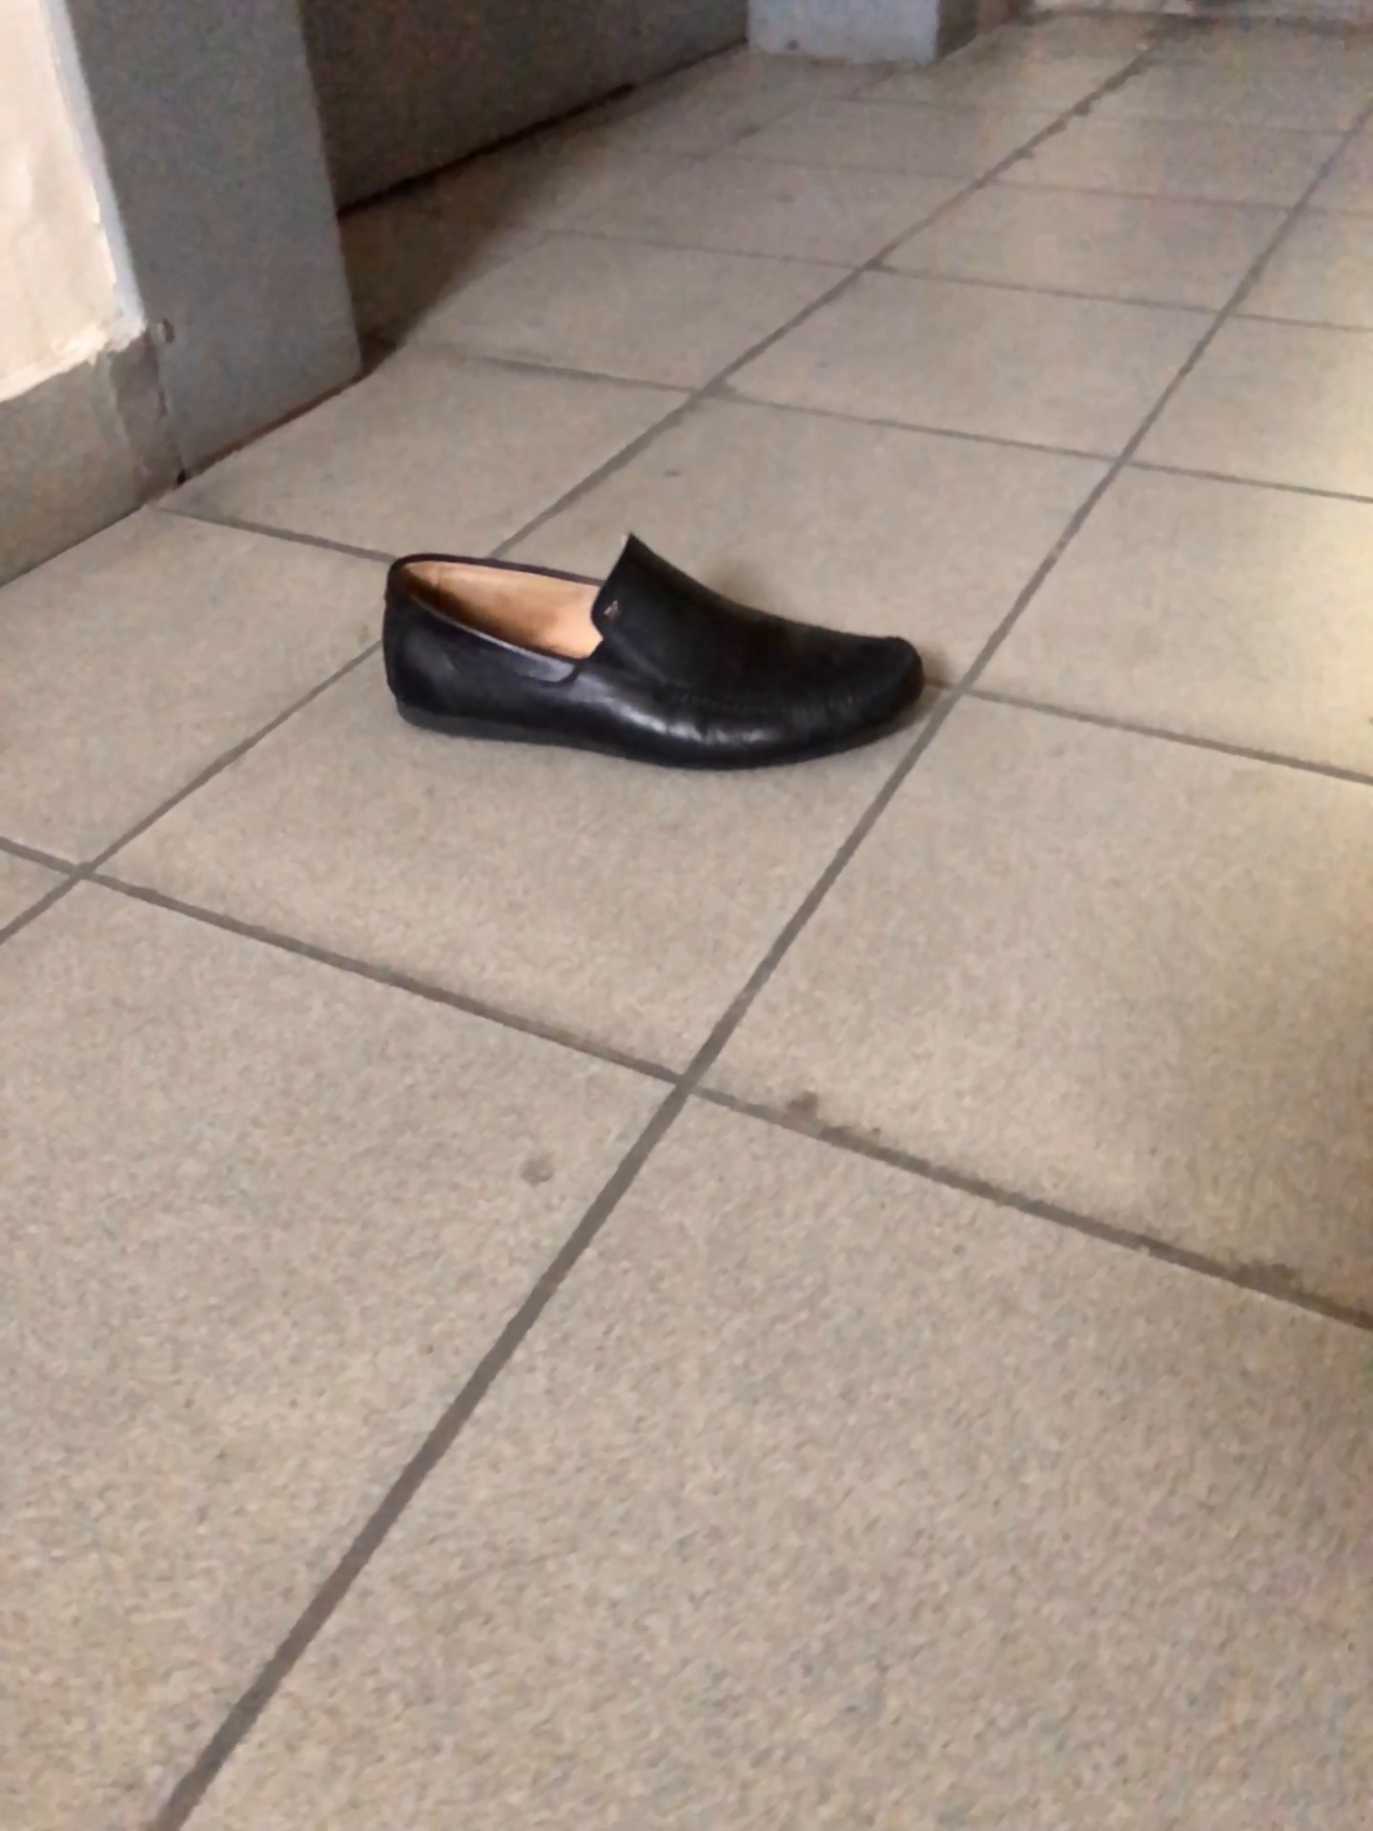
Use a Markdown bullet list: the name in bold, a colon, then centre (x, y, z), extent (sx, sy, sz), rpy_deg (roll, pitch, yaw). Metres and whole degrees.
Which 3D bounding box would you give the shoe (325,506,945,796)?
- **shoe**: centre (-0.018, -0.130, 0.723), extent (0.270, 0.079, 0.108), rpy_deg (5, 40, 10)
